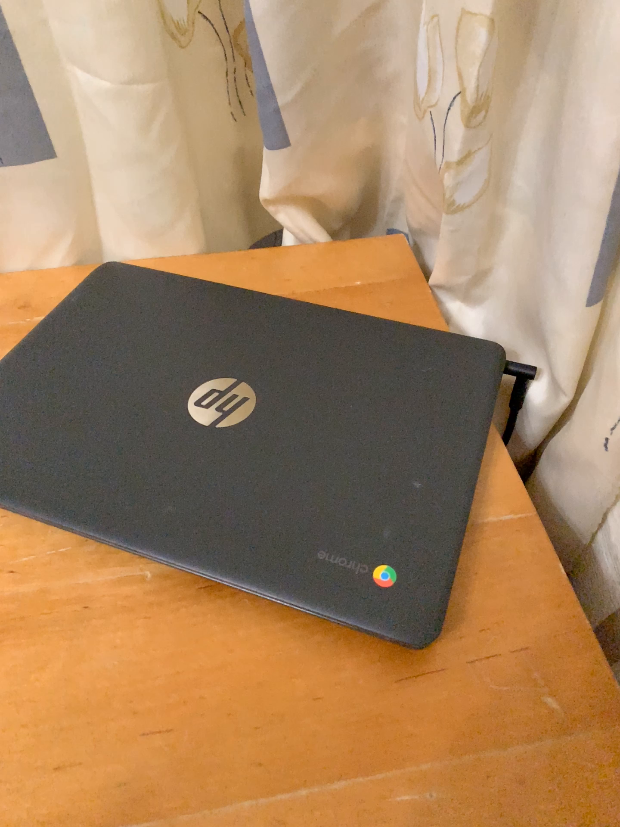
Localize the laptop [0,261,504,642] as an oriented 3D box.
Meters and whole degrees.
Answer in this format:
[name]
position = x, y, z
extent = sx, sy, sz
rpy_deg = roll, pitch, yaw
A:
[laptop]
position = -0.045, -0.008, 0.335
extent = 0.261, 0.004, 0.186
rpy_deg = 14, 47, 15
